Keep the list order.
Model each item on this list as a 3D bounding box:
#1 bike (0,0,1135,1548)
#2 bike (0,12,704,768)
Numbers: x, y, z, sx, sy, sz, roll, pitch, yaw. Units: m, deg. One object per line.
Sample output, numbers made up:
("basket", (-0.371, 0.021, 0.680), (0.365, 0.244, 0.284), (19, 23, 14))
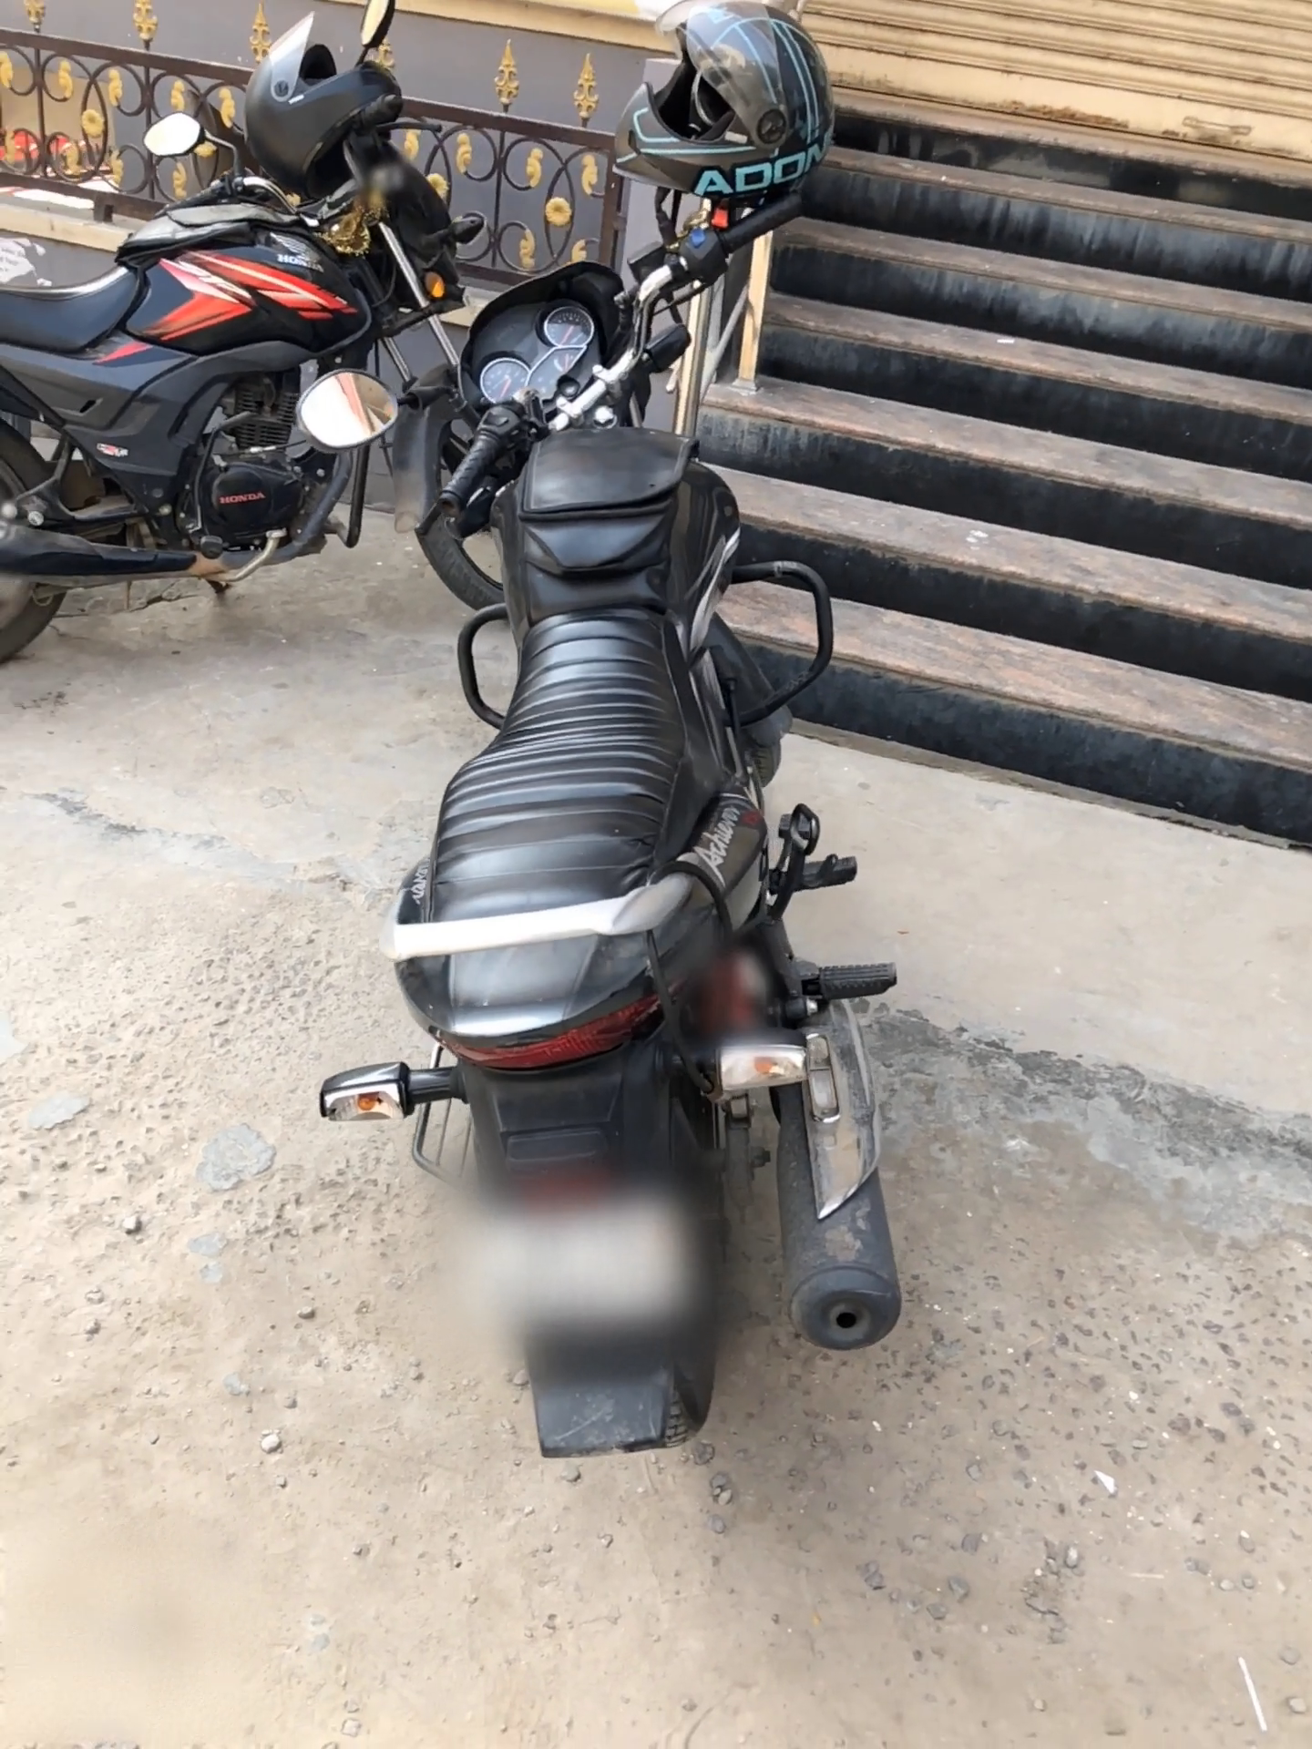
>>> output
("bike", (-0.232, -0.343, 1.884), (0.746, 1.155, 1.745), (3, 35, -9))
("bike", (-0.824, -0.956, 2.841), (1.604, 1.056, 0.685), (-15, 38, -35))
